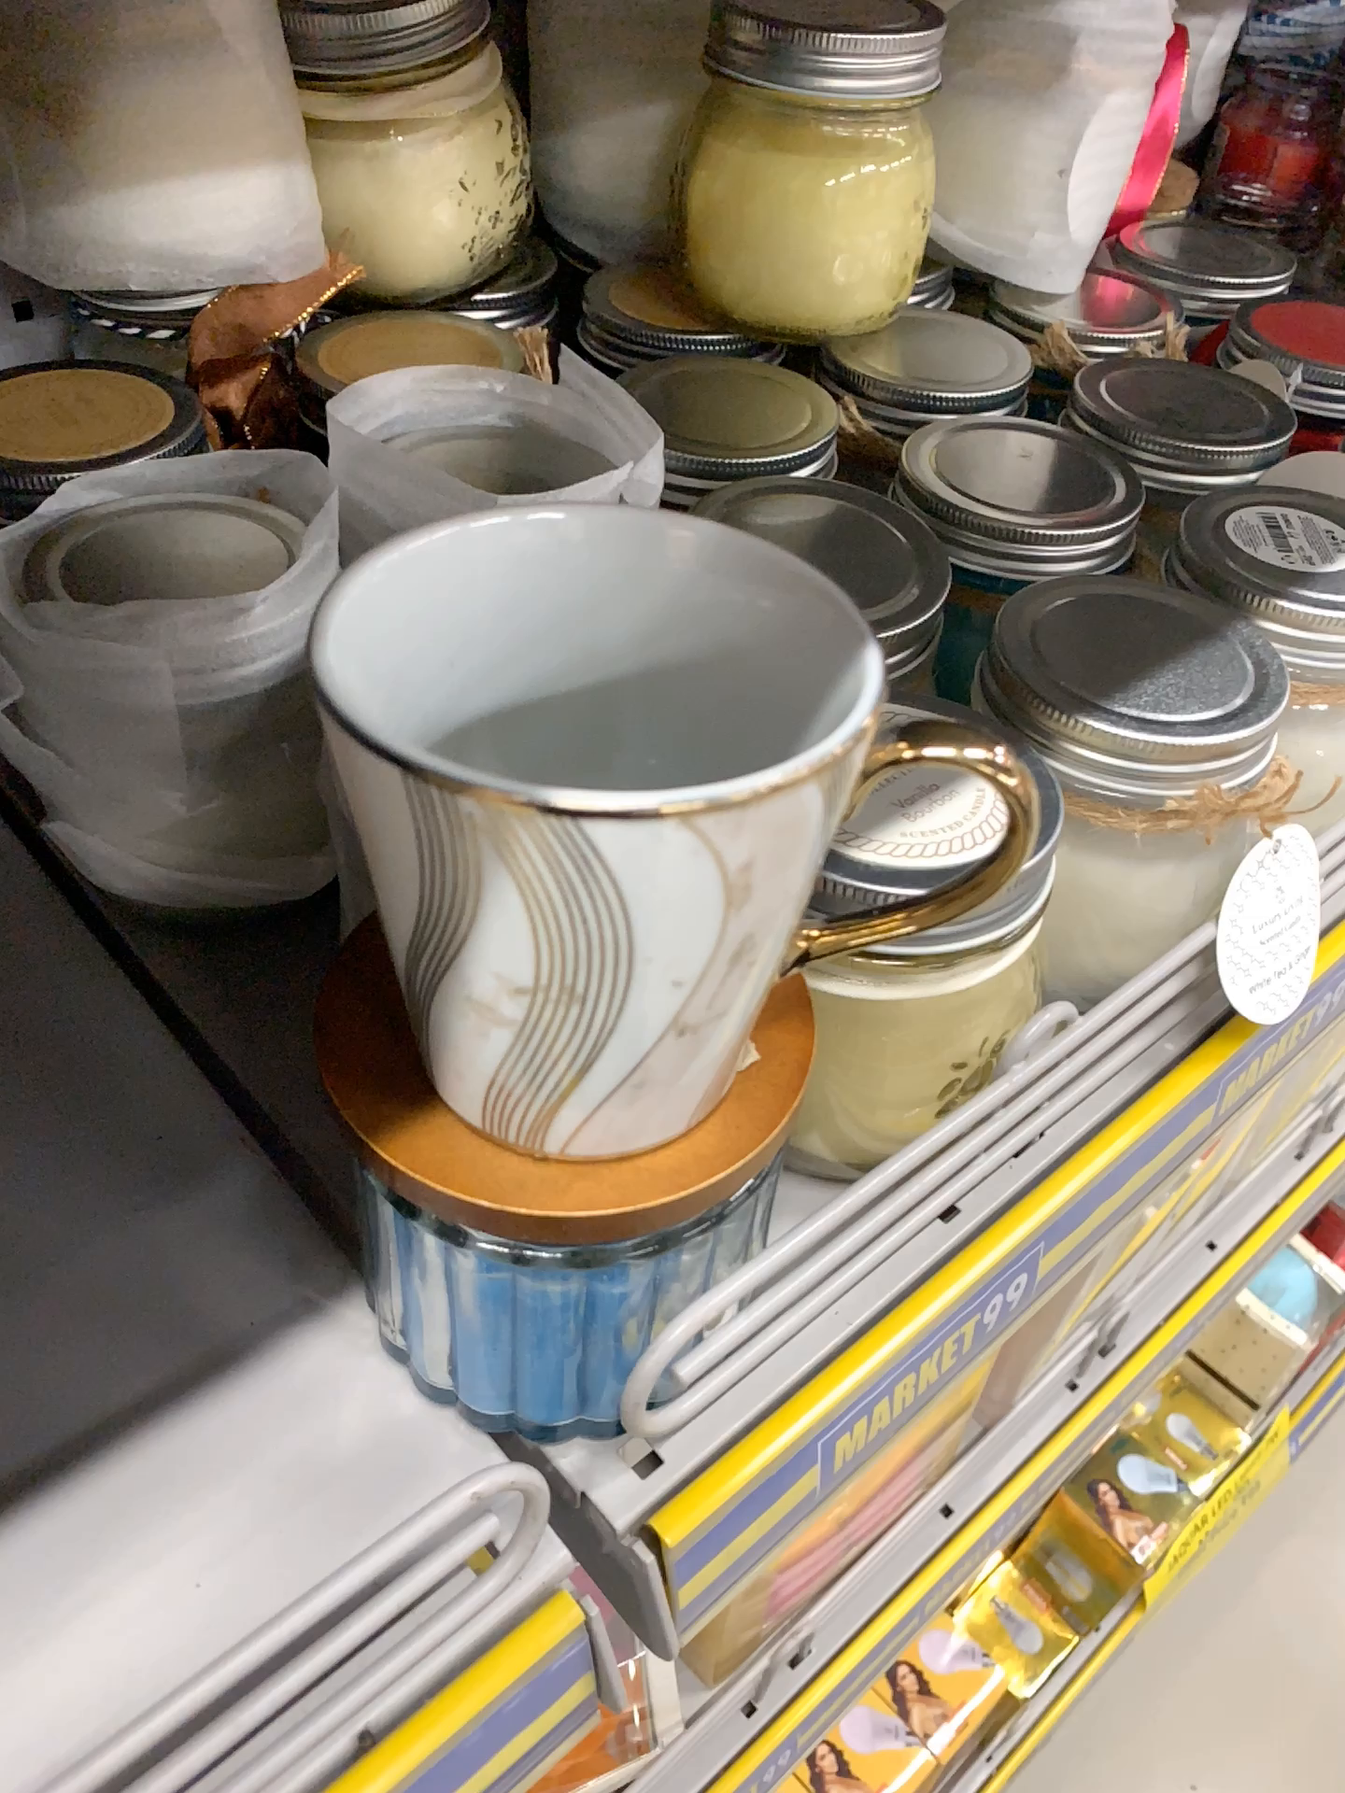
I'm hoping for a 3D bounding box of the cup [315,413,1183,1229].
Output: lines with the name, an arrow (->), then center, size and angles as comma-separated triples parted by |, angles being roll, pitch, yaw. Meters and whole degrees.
cup -> 0.007, -0.010, 0.196 | 0.090, 0.080, 0.070 | 6, 44, -1
